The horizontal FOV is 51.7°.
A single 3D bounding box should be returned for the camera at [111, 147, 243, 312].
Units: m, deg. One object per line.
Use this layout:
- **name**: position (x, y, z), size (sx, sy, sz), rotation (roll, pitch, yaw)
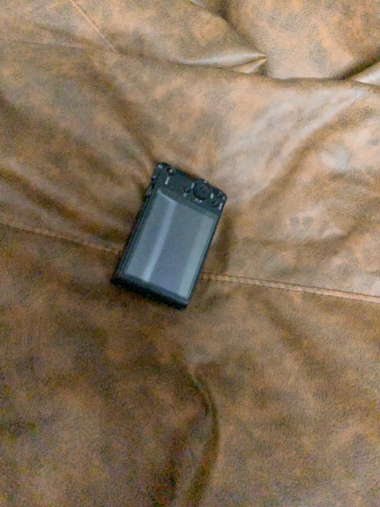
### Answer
- **camera**: position (-0.008, -0.016, 0.281), size (0.060, 0.024, 0.100), rotation (23, 75, -9)
